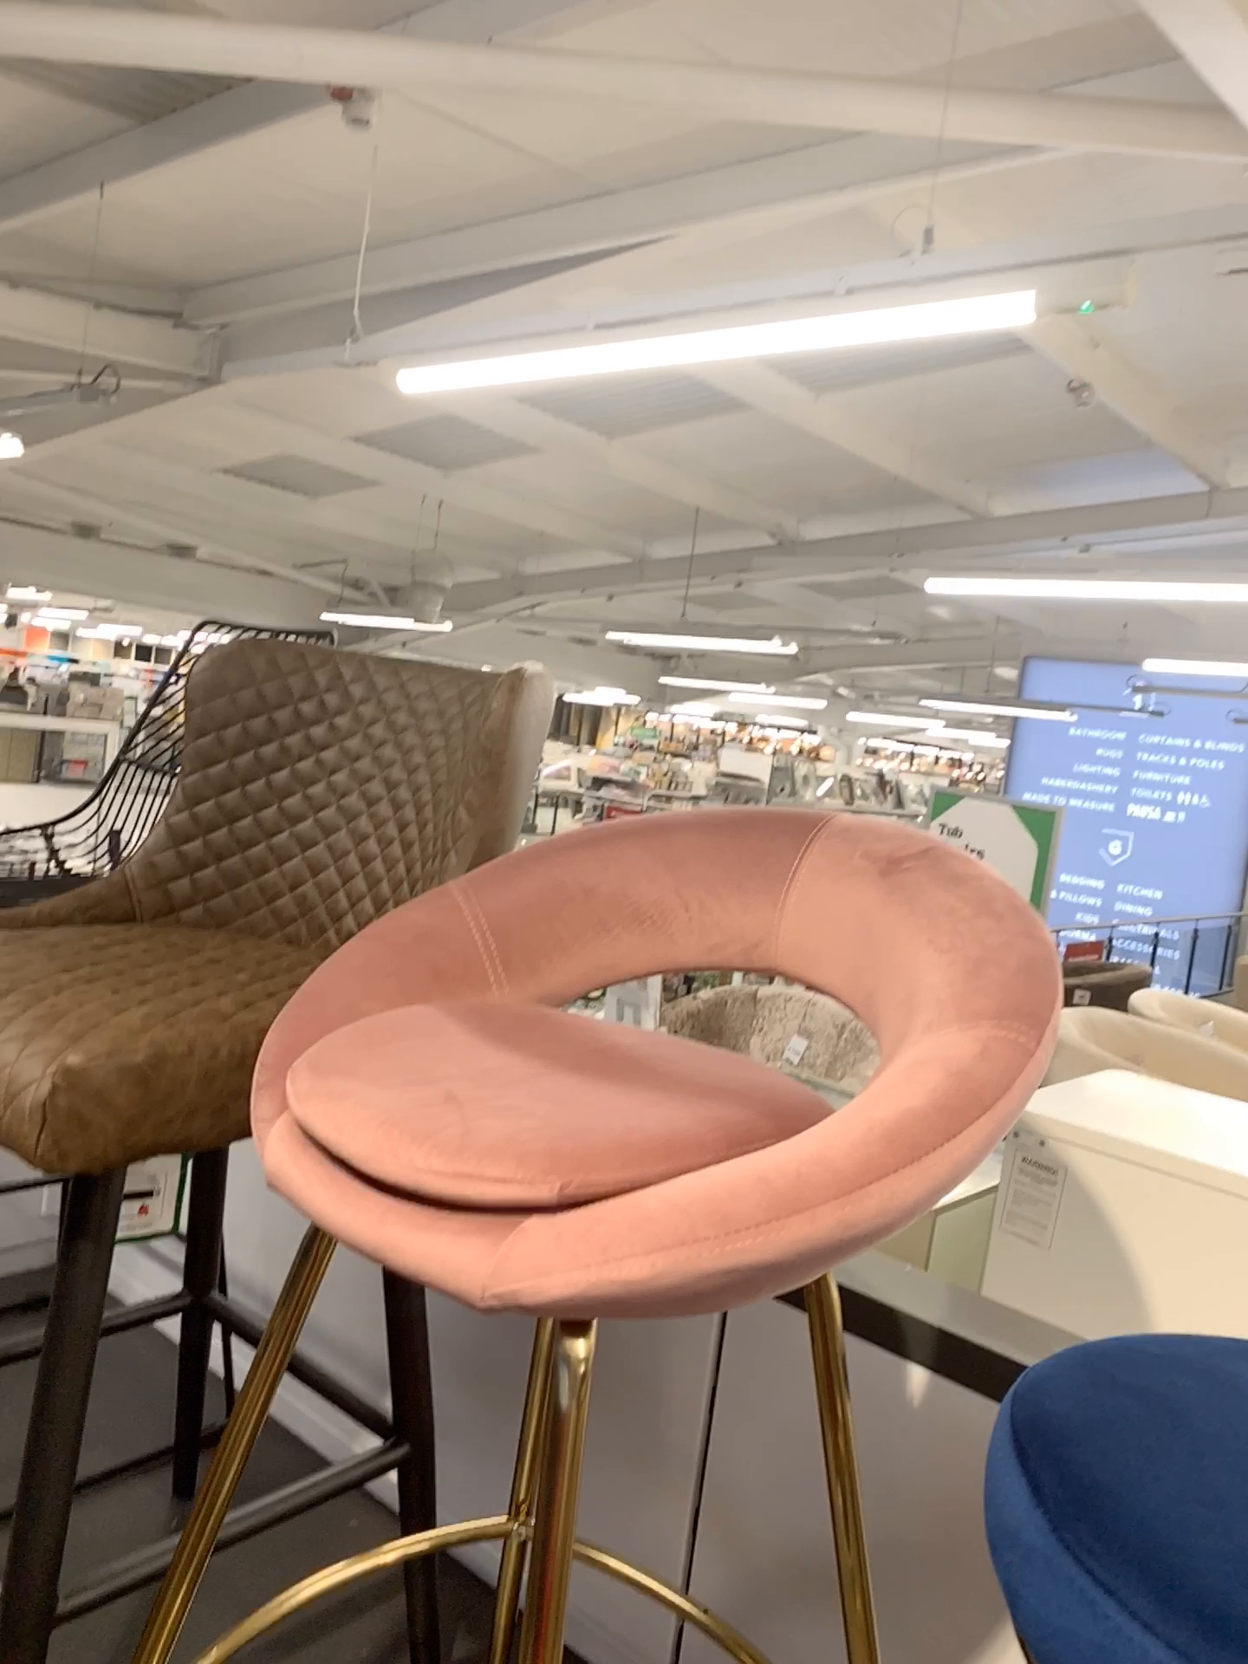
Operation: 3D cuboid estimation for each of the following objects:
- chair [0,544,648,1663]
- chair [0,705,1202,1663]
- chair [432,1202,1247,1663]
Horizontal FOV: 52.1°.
[{"bbox_3d":[-0.376,0.277,1.111,0.502,0.960,0.451,10,4,38],"label":"chair"},{"bbox_3d":[-0.031,0.390,0.824,0.492,0.860,0.461,11,4,44],"label":"chair"},{"bbox_3d":[0.275,0.564,0.500,0.431,0.620,0.462,4,5,-45],"label":"chair"}]
